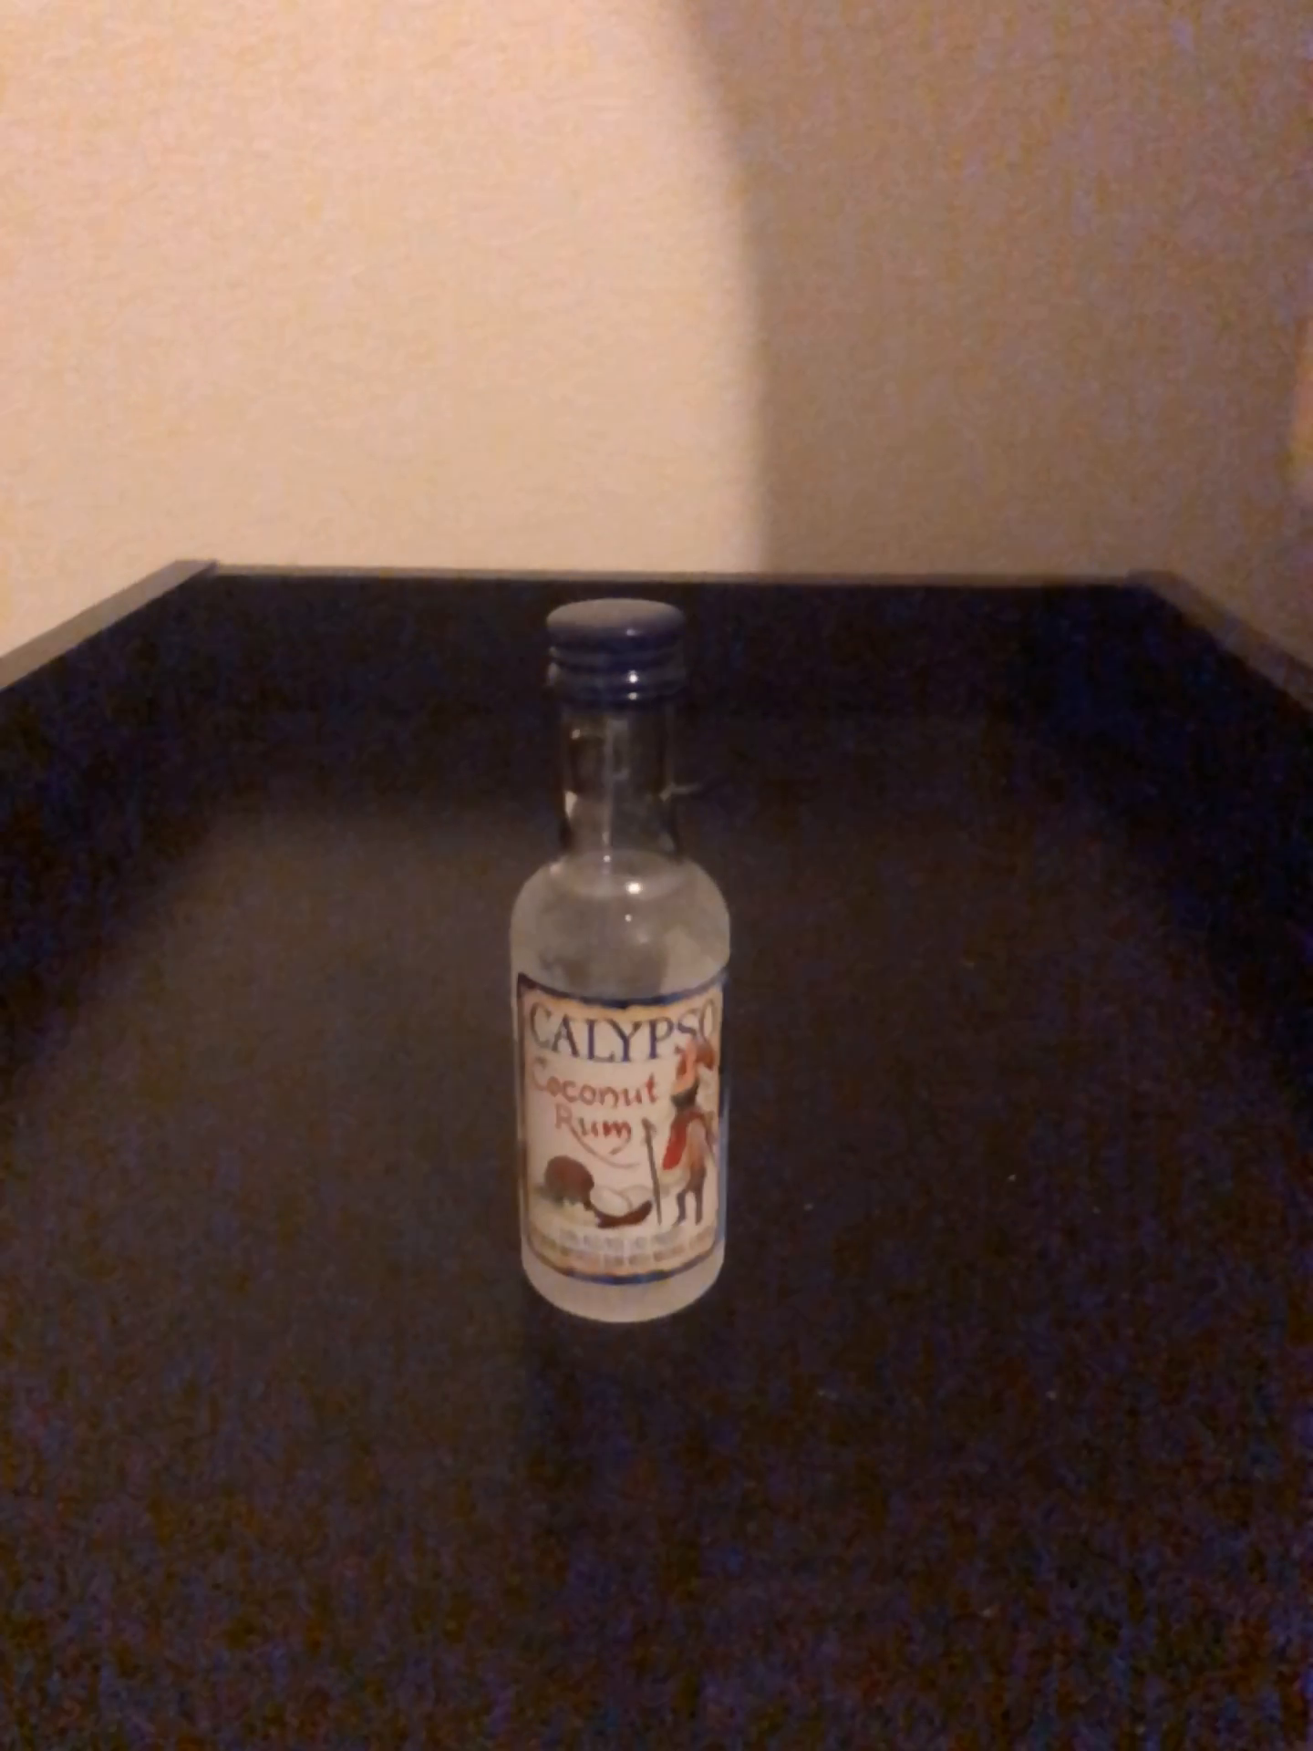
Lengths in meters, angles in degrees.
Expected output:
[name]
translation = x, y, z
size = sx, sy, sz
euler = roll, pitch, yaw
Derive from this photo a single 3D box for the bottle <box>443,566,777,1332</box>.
[bottle]
translation = -0.006, 0.011, 0.210
size = 0.040, 0.104, 0.036
euler = -1, 21, -1
